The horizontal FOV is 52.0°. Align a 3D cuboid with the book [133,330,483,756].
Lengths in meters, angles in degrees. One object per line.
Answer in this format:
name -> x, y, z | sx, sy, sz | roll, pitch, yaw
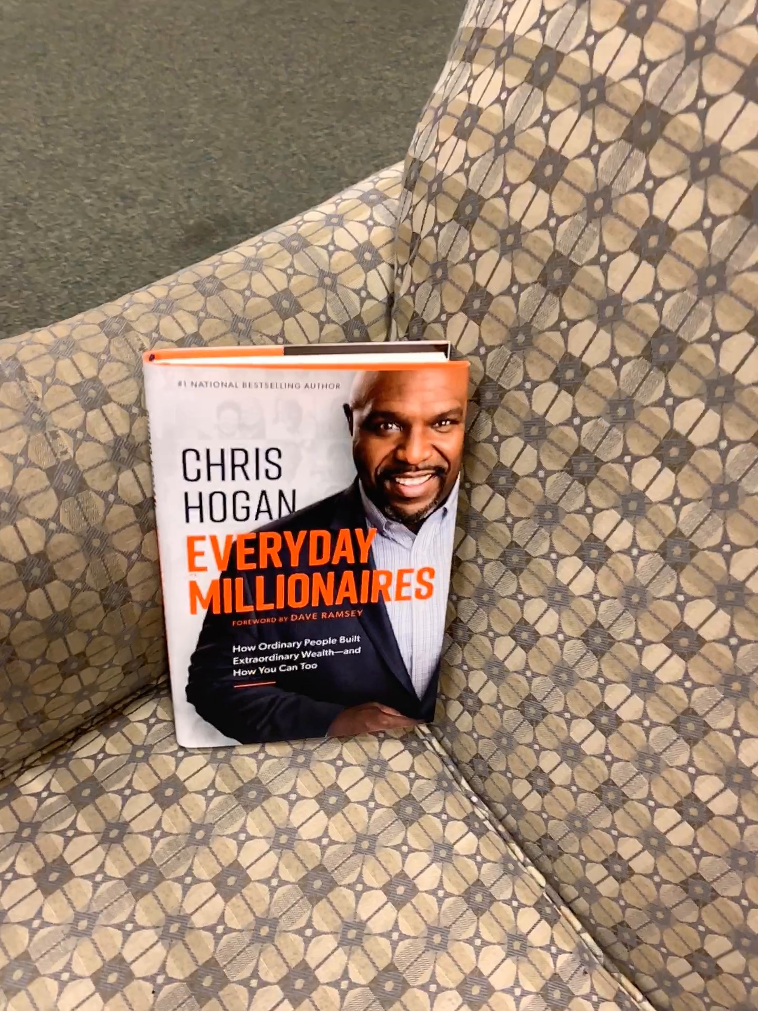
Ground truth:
book -> -0.038, 0.029, 0.431 | 0.160, 0.244, 0.038 | -2, 29, -9
